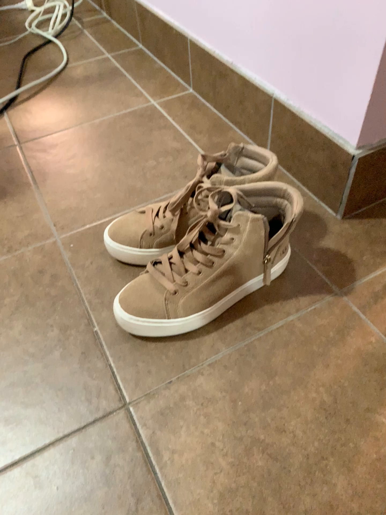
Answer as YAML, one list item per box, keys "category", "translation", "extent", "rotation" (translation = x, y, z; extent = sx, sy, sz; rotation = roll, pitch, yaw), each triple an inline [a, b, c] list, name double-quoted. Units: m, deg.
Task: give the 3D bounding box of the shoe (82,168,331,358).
- category: "shoe"
  translation: [0.017, 0.002, 0.509]
  extent: [0.270, 0.119, 0.113]
  rotation: [-20, 50, -12]

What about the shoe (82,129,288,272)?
- category: "shoe"
  translation: [-0.013, -0.081, 0.559]
  extent: [0.254, 0.117, 0.106]
  rotation: [-11, 49, -5]
